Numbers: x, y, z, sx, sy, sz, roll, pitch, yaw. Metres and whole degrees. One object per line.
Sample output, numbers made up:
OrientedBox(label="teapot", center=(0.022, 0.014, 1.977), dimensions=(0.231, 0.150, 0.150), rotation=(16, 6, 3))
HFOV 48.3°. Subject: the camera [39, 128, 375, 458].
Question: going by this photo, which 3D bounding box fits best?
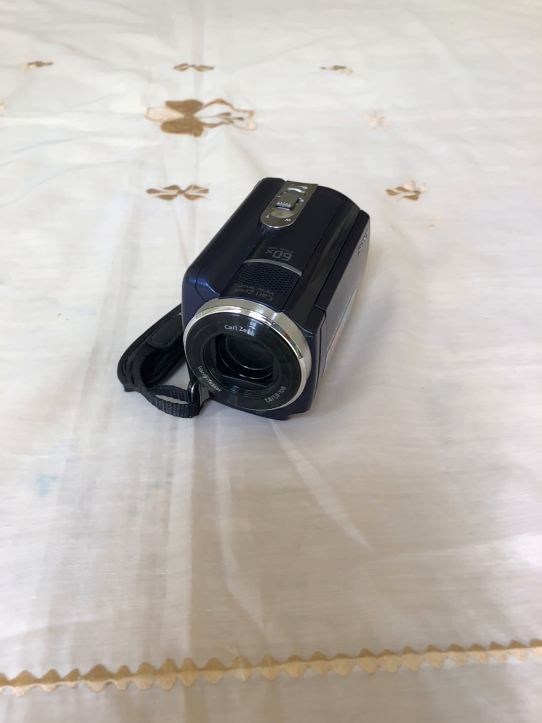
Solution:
OrientedBox(label="camera", center=(-0.017, -0.038, 0.258), dimensions=(0.090, 0.070, 0.120), rotation=(14, 43, 13))
